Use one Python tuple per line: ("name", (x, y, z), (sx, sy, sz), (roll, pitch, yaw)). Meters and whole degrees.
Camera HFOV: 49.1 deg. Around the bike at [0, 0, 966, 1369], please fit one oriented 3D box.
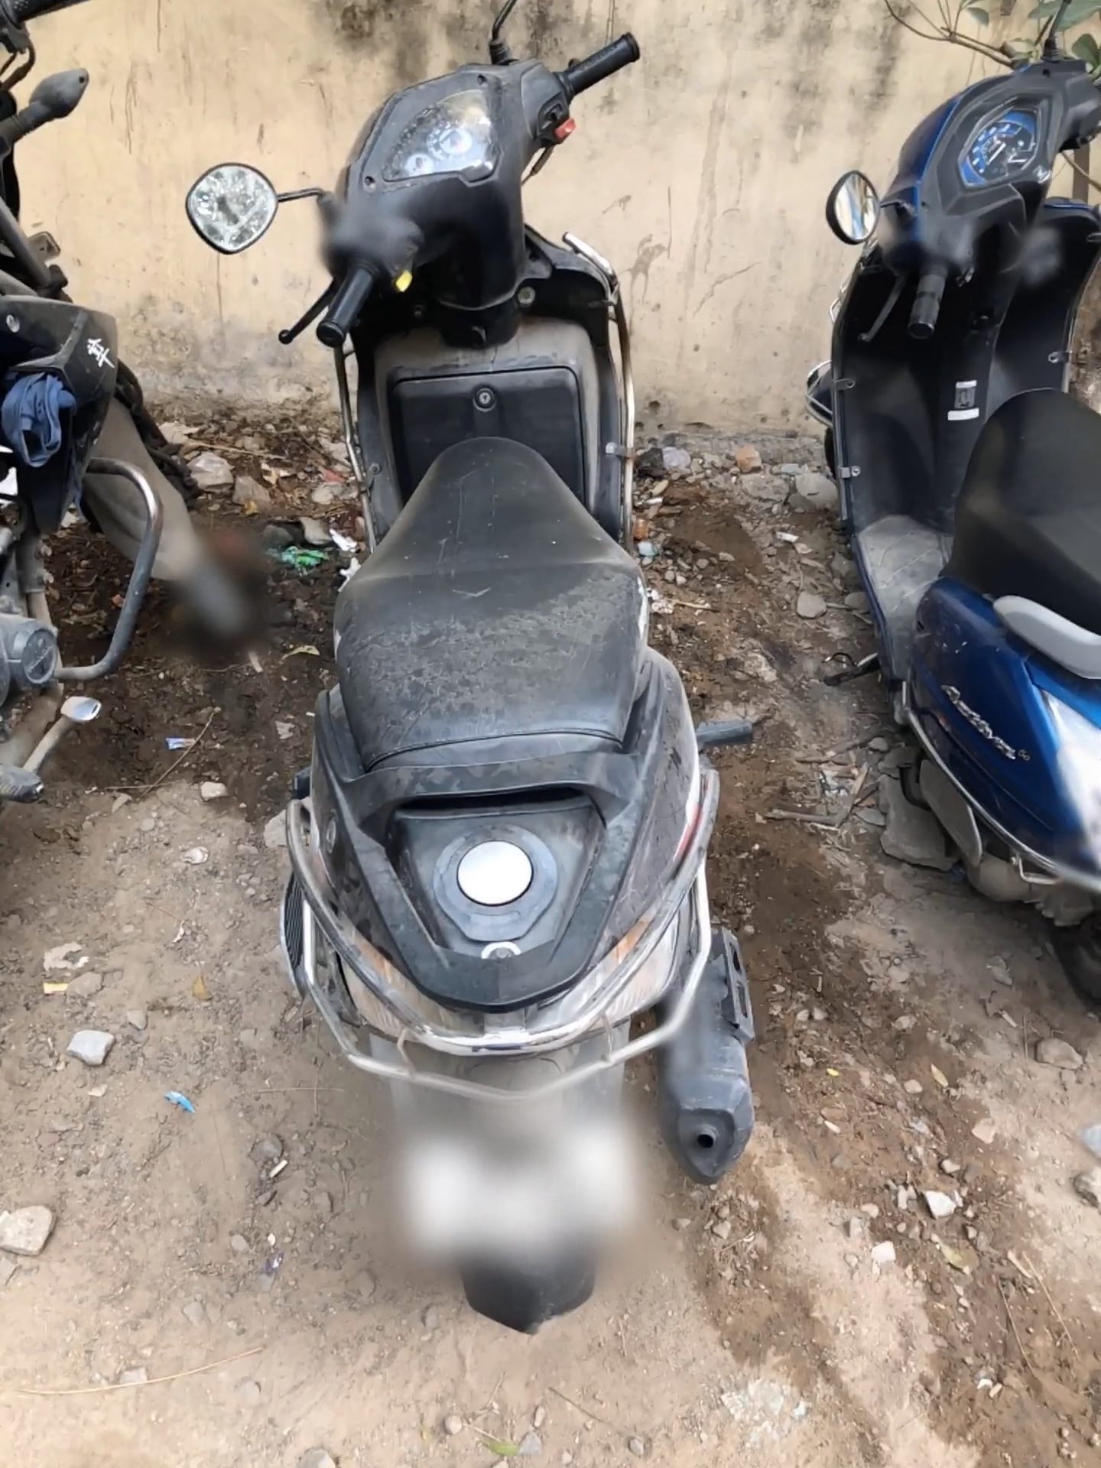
("bike", (-0.225, -0.344, 1.504), (0.528, 1.113, 1.568), (-2, 40, -12))
